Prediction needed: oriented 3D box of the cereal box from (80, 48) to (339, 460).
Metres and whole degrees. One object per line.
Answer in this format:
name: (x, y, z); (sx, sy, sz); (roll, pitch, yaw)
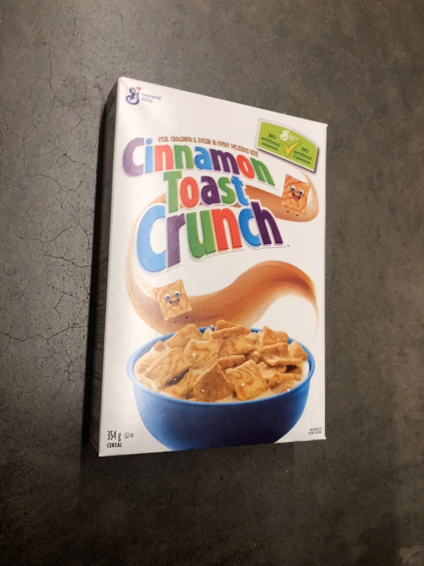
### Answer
cereal box: (0.003, -0.018, 0.392); (0.200, 0.060, 0.290); (3, 86, -21)
